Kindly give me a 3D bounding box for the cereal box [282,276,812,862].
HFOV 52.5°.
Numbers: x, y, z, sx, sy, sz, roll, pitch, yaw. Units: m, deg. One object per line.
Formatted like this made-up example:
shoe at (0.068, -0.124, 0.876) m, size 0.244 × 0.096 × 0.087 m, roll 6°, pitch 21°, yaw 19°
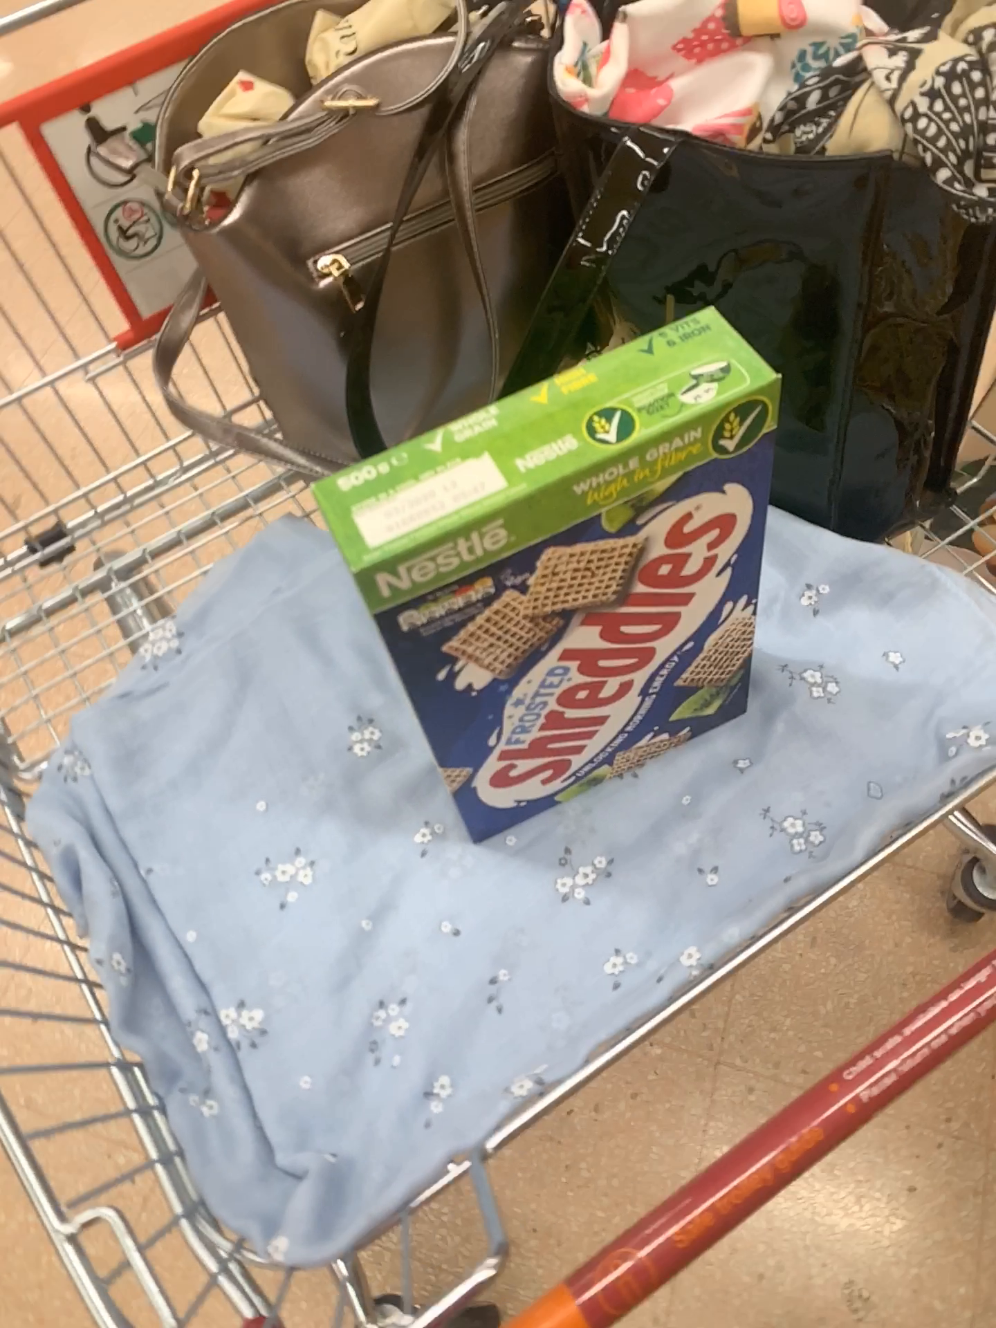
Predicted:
cereal box at (0.035, -0.022, 0.512) m, size 0.200 × 0.288 × 0.060 m, roll -25°, pitch 59°, yaw -8°
